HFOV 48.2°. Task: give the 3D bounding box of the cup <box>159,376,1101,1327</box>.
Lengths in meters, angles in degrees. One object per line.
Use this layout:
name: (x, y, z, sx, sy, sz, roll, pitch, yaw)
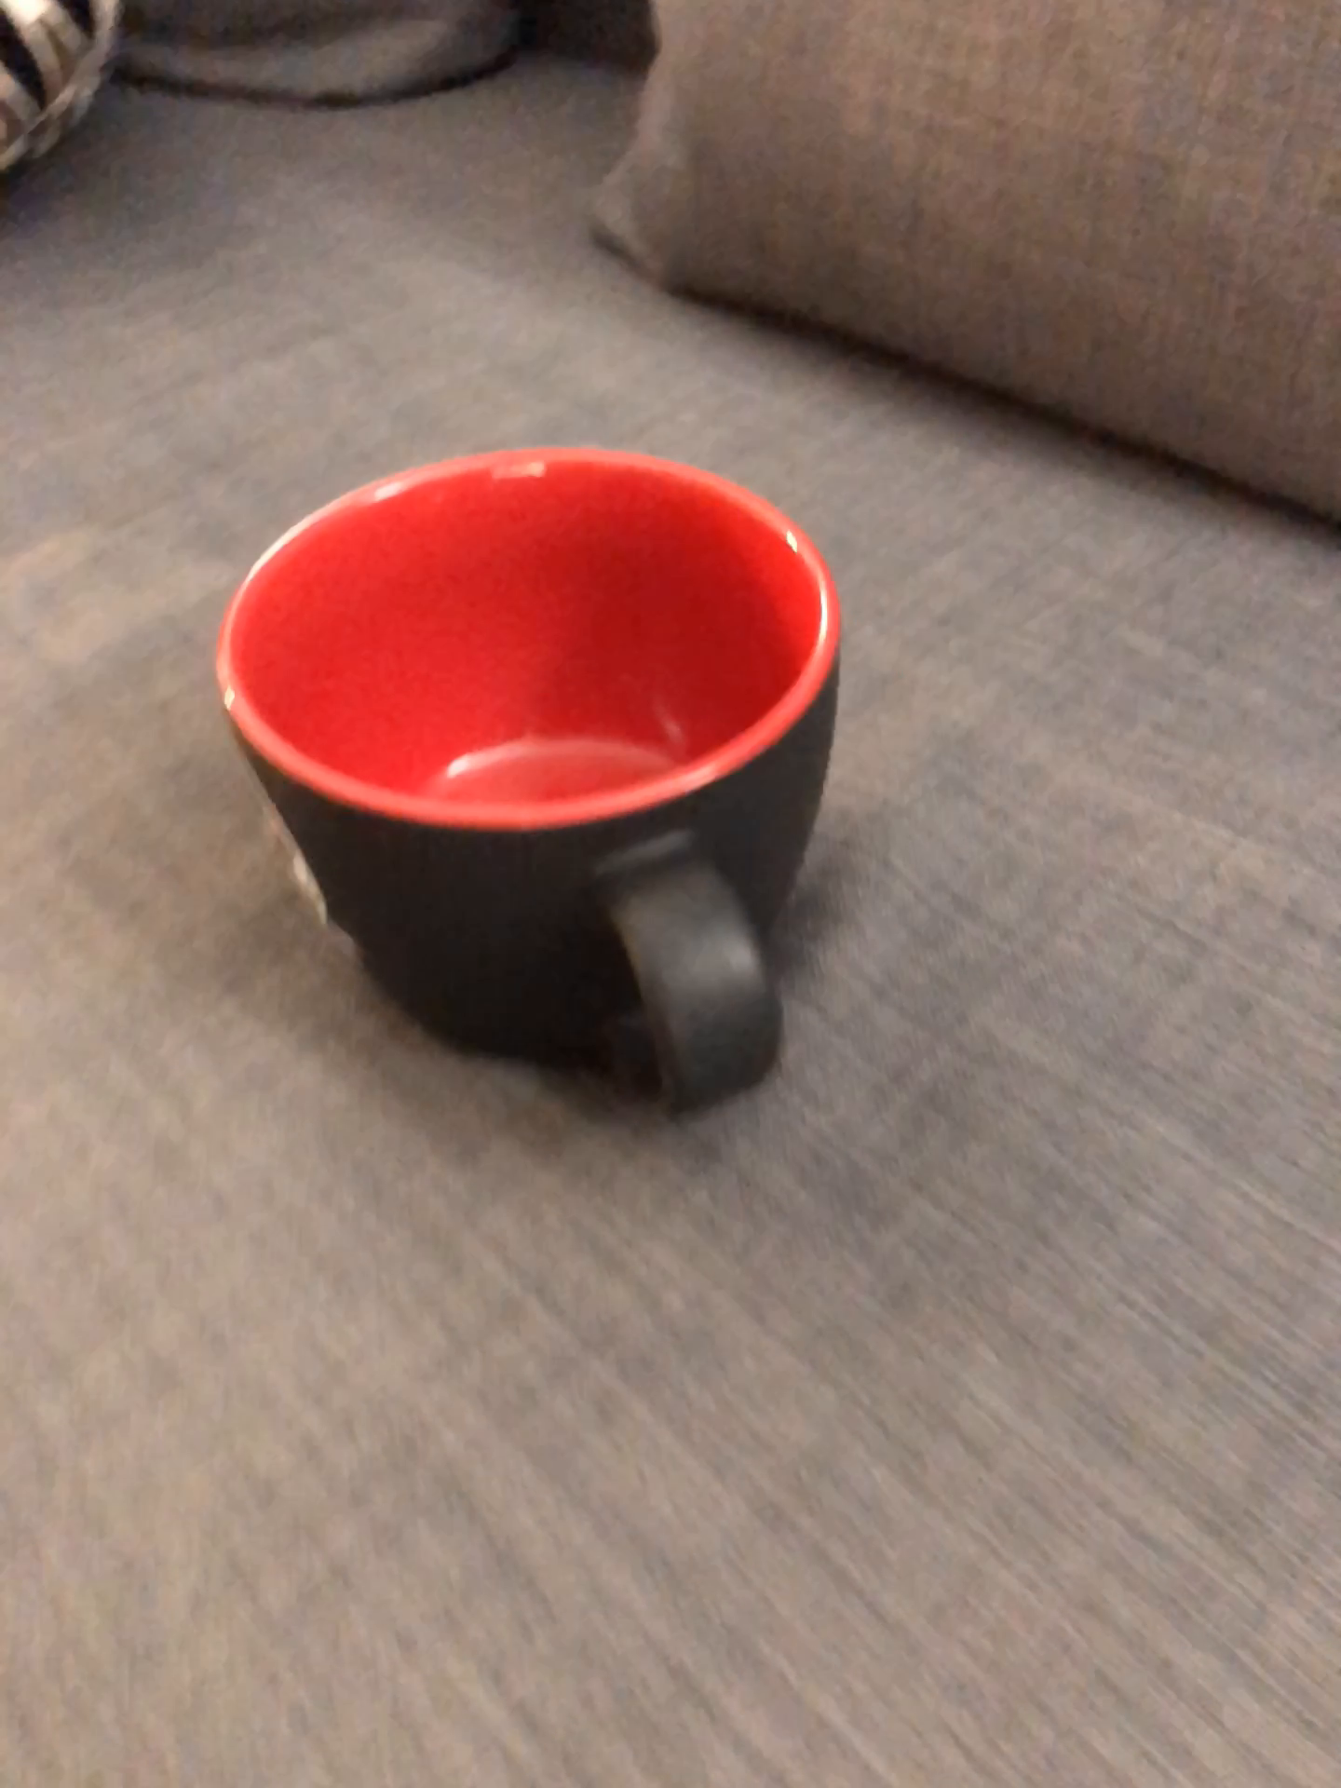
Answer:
cup: (-0.018, -0.022, 0.301, 0.120, 0.080, 0.161, -19, 45, -15)
